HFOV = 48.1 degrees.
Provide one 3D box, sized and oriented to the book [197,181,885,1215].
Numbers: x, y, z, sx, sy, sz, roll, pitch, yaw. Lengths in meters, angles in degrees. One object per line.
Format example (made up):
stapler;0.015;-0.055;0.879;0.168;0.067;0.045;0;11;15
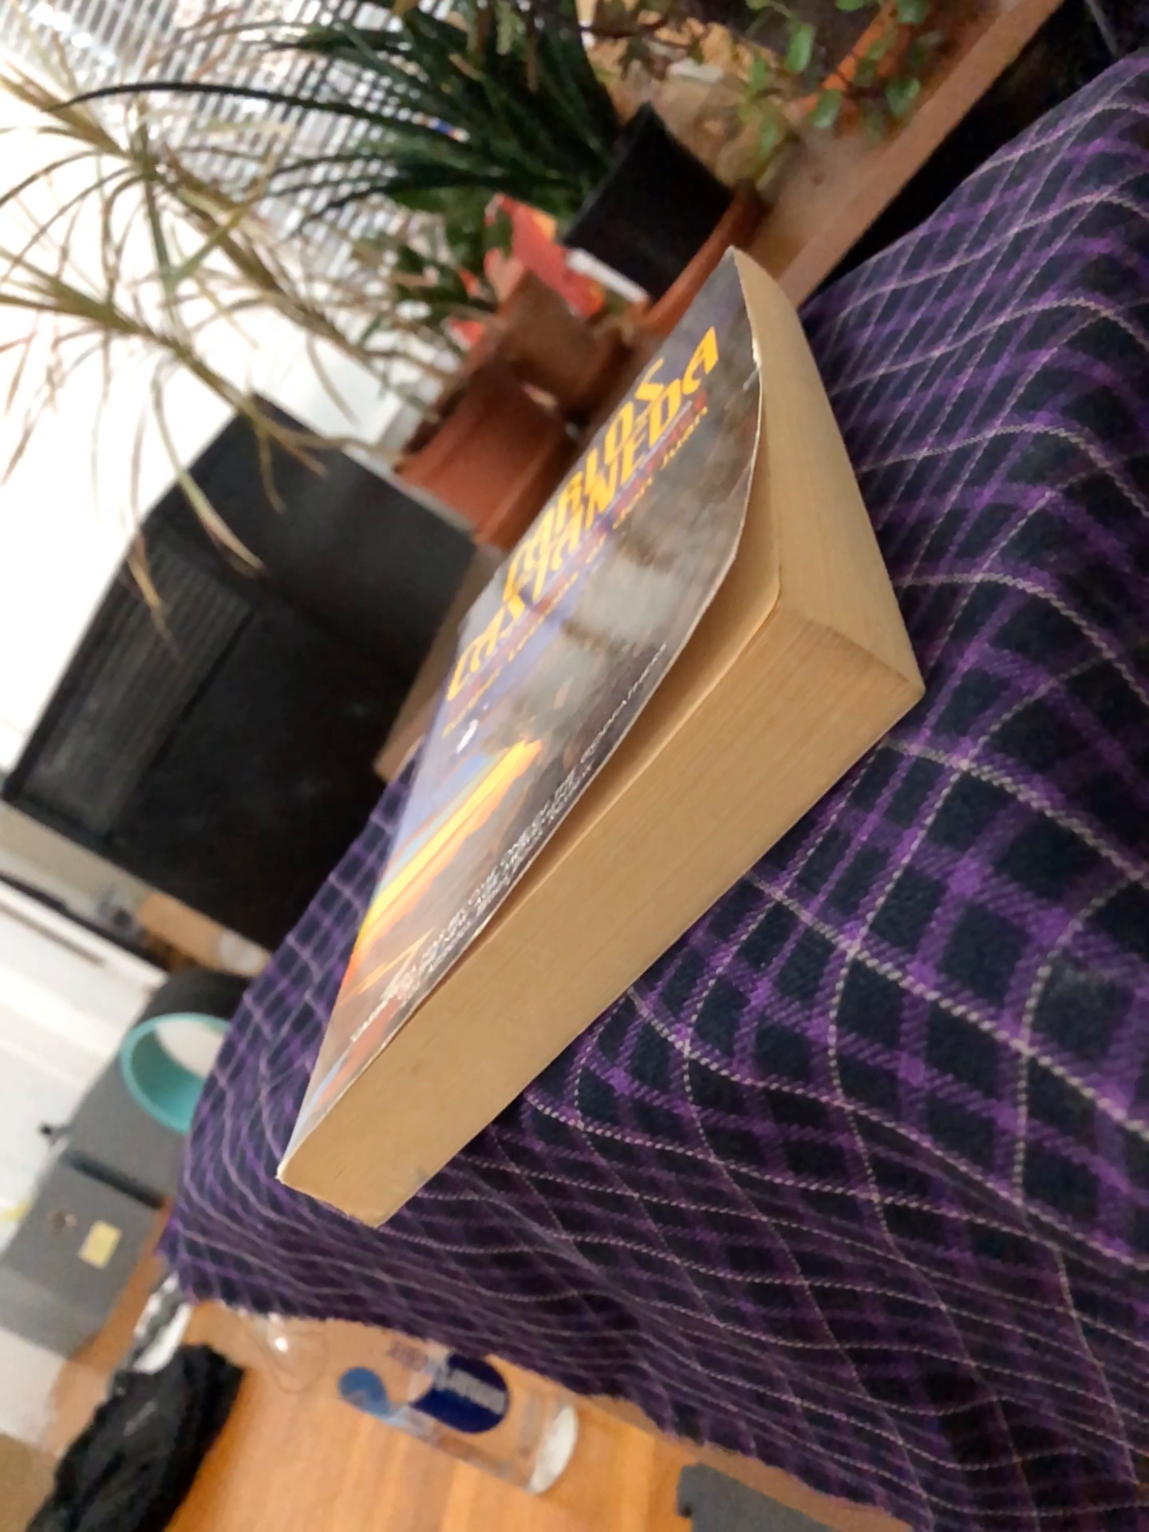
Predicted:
book;-0.005;-0.036;0.280;0.150;0.020;0.221;-49;18;29
